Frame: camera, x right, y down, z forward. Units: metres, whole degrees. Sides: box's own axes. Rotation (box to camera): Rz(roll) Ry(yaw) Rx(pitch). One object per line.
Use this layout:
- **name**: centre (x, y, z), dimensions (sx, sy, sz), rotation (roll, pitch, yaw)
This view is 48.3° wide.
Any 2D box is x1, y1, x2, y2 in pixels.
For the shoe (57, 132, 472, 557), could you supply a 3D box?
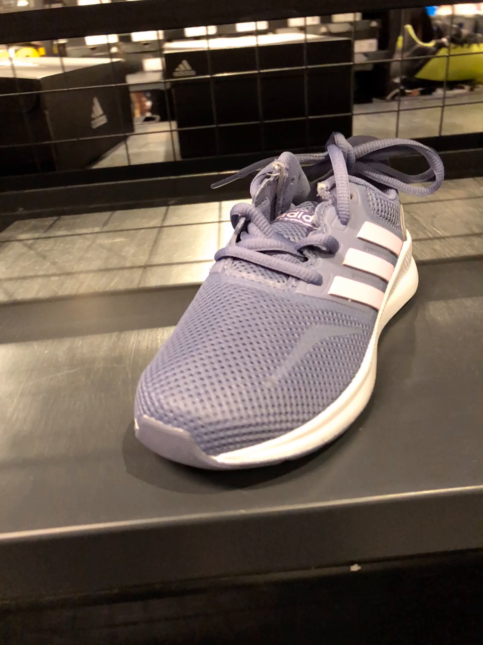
- **shoe**: centre (0.037, -0.022, 0.256), dimensions (0.090, 0.090, 0.221), rotation (11, 33, 28)
